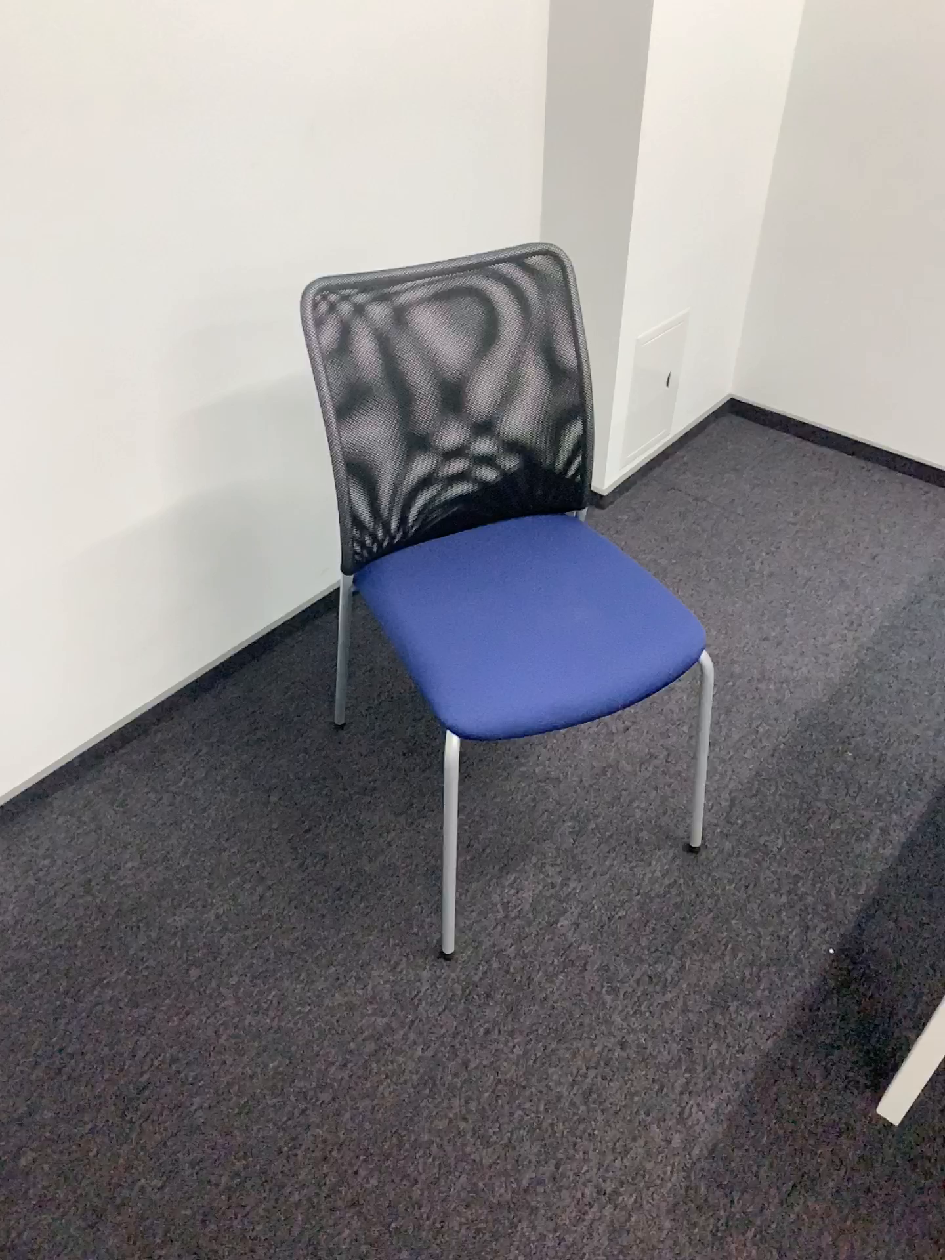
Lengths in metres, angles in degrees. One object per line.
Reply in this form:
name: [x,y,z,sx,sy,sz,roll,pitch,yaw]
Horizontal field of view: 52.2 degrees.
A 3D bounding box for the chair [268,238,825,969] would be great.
chair: [0.057,-0.044,1.508,0.491,0.865,0.593,-16,43,-18]
